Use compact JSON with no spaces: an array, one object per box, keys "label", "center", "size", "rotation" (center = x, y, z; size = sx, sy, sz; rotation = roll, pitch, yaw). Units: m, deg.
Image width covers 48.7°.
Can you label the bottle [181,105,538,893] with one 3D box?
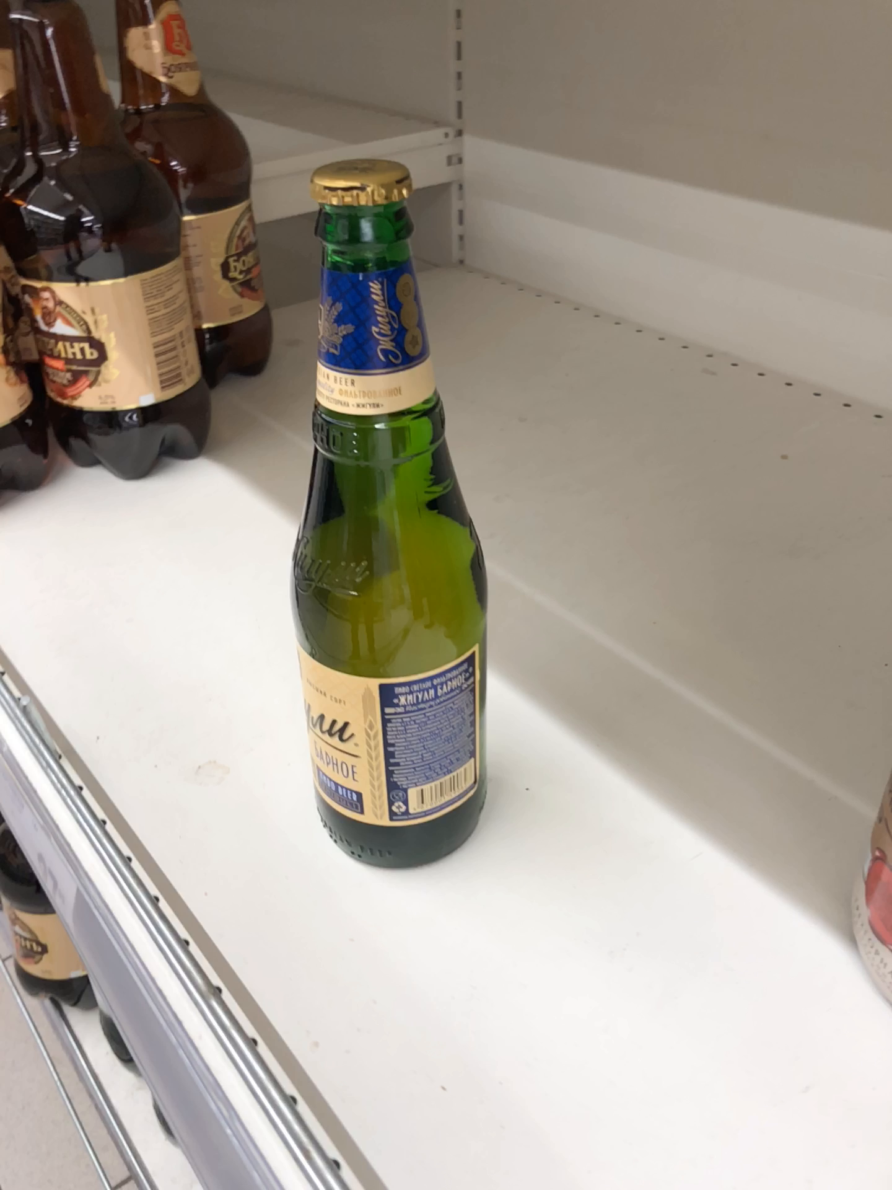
[{"label":"bottle","center":[-0.026,-0.022,0.341],"size":[0.080,0.249,0.090],"rotation":[-10,37,-12]}]
